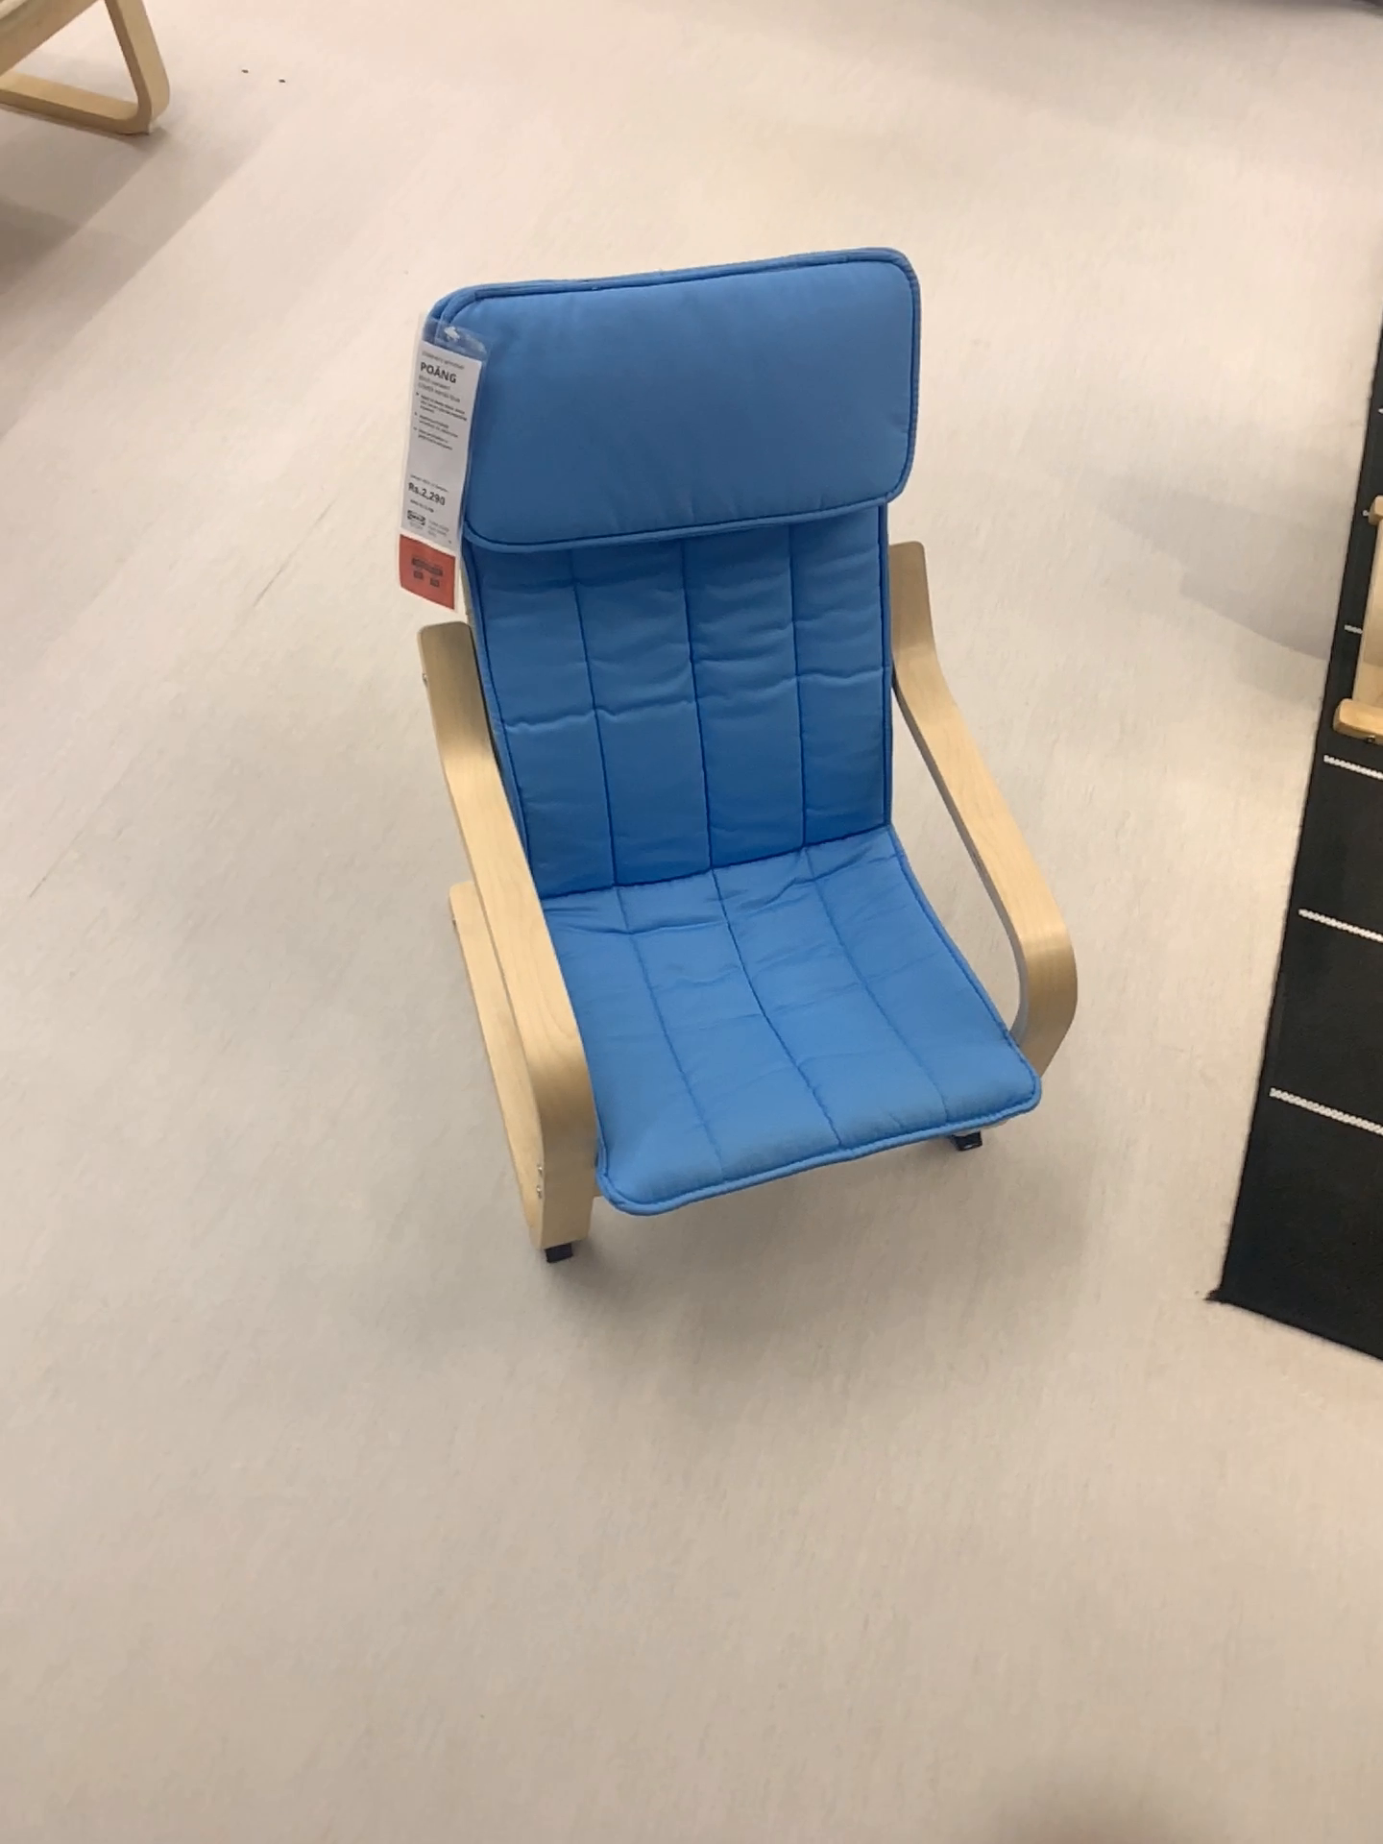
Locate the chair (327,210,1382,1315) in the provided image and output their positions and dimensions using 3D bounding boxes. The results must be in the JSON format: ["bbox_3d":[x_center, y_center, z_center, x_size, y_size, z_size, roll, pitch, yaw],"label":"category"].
[{"bbox_3d":[0.056,-0.095,1.129,0.510,0.639,0.501,-13,58,-12],"label":"chair"}]
